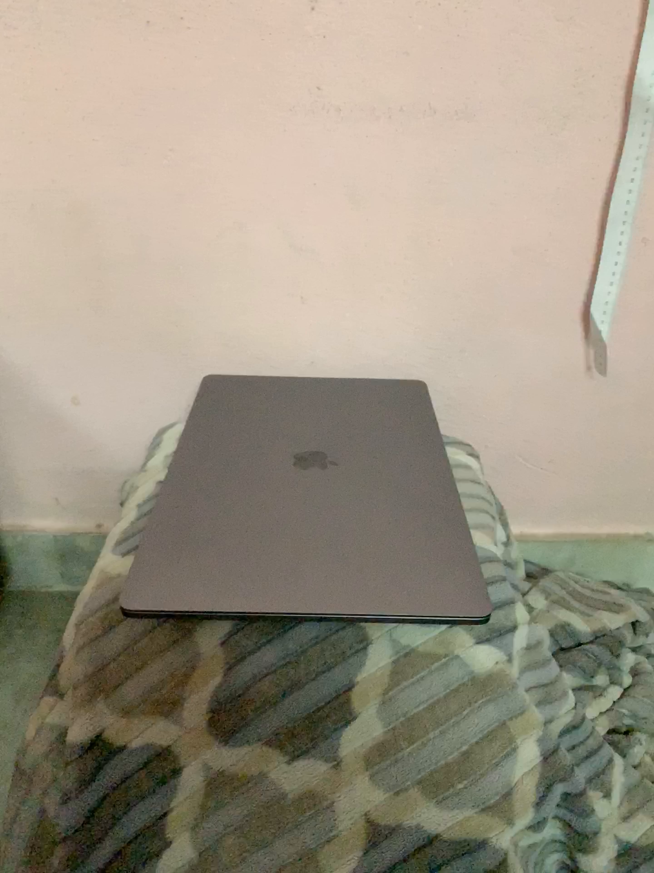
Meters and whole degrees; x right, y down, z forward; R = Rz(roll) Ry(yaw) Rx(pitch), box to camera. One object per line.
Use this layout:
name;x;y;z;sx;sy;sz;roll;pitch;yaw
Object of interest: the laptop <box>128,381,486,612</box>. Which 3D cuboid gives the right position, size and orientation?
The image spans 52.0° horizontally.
laptop;-0.010;0.026;0.569;0.228;0.002;0.327;1;30;1
